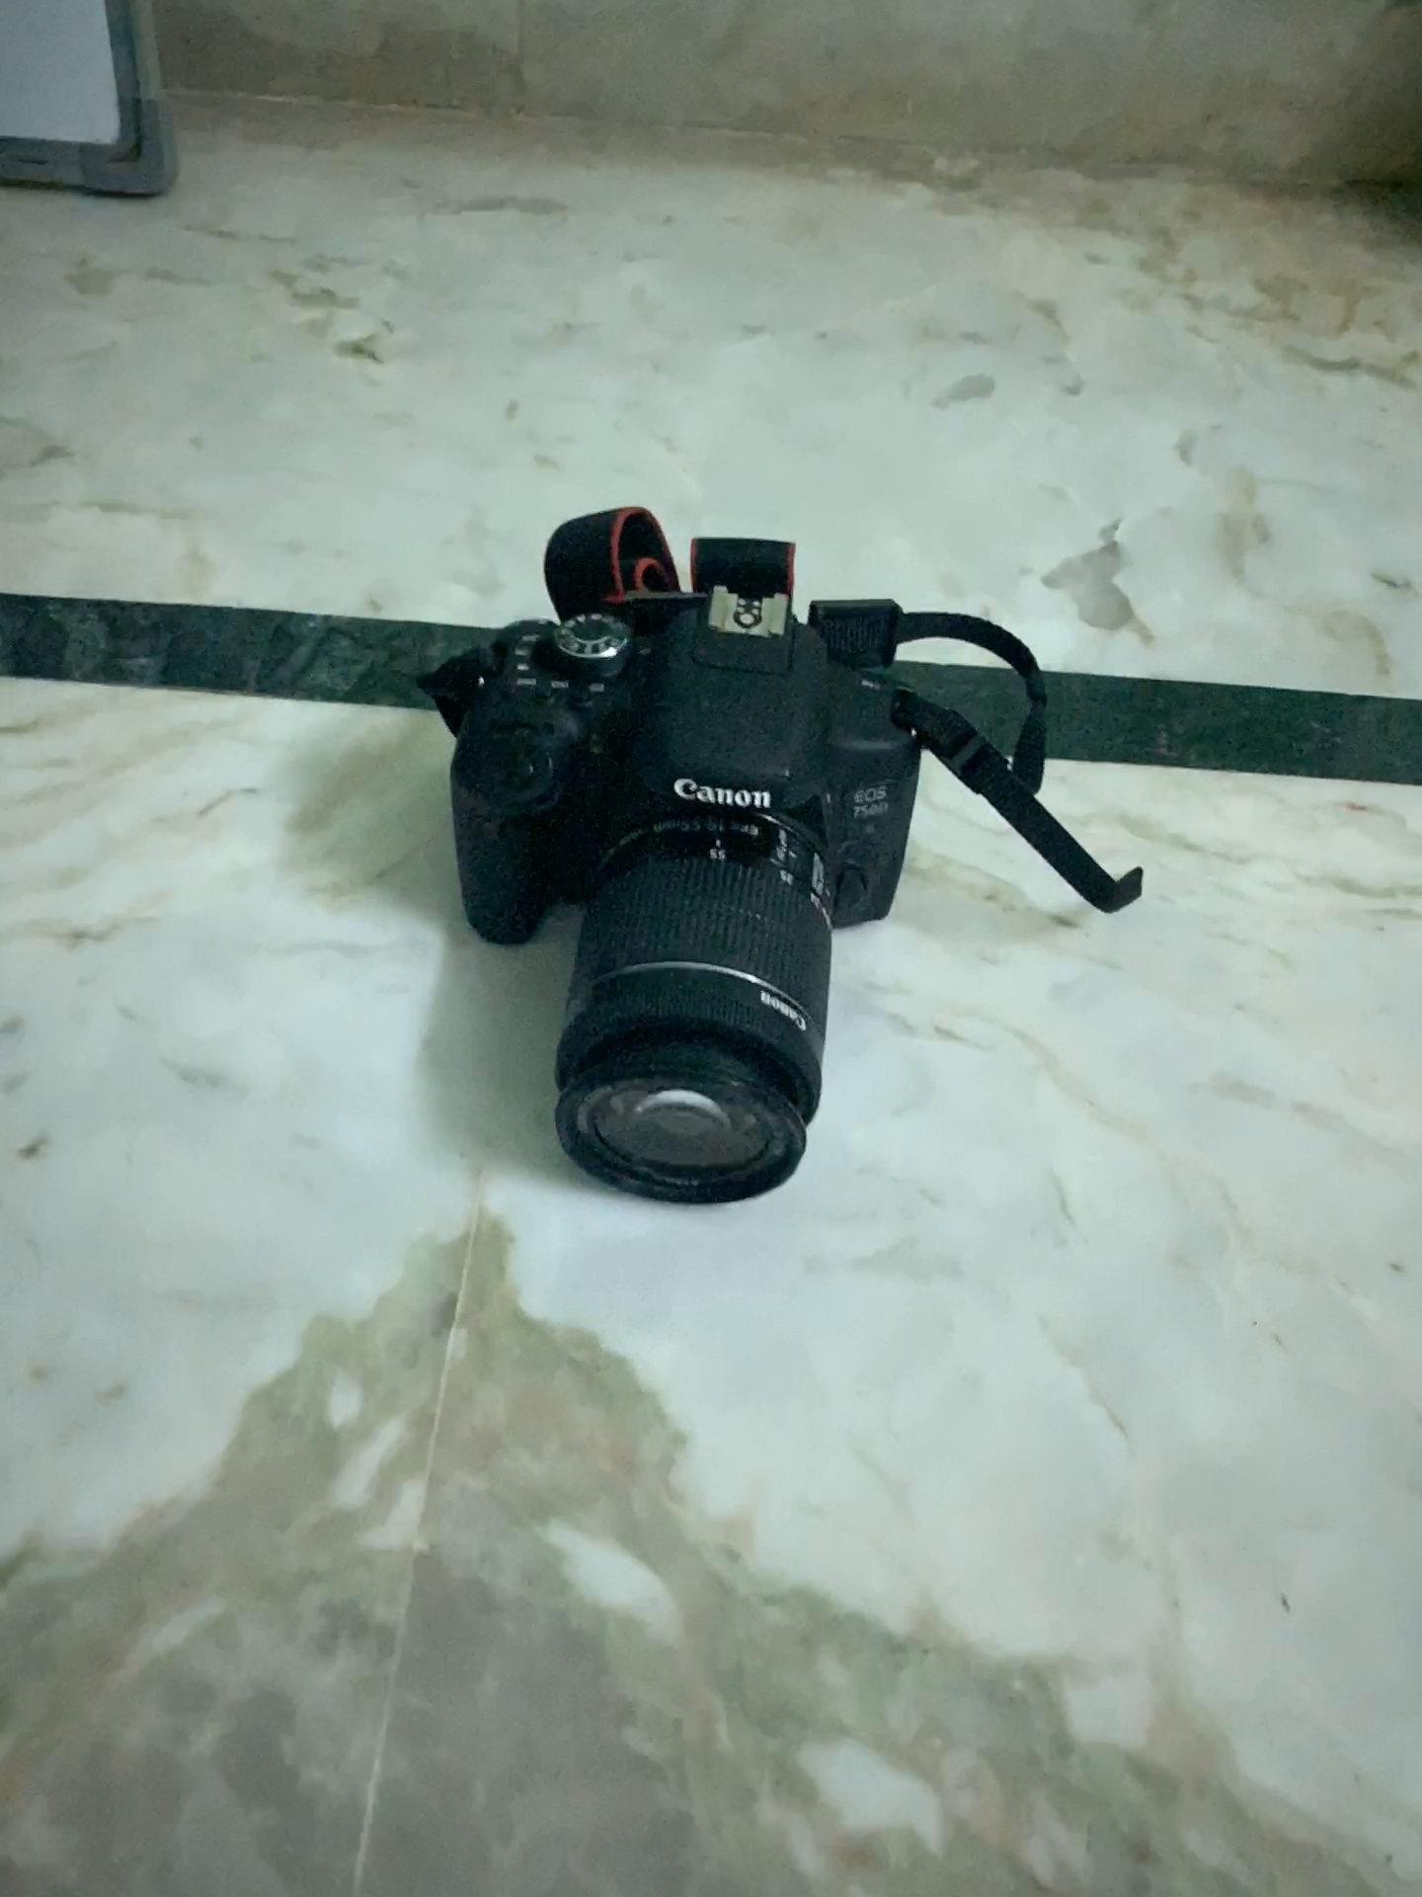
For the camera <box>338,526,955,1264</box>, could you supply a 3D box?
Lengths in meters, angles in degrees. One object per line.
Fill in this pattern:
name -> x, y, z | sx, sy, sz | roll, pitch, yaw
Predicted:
camera -> -0.009, -0.018, 0.392 | 0.128, 0.100, 0.161 | 6, 49, 1
